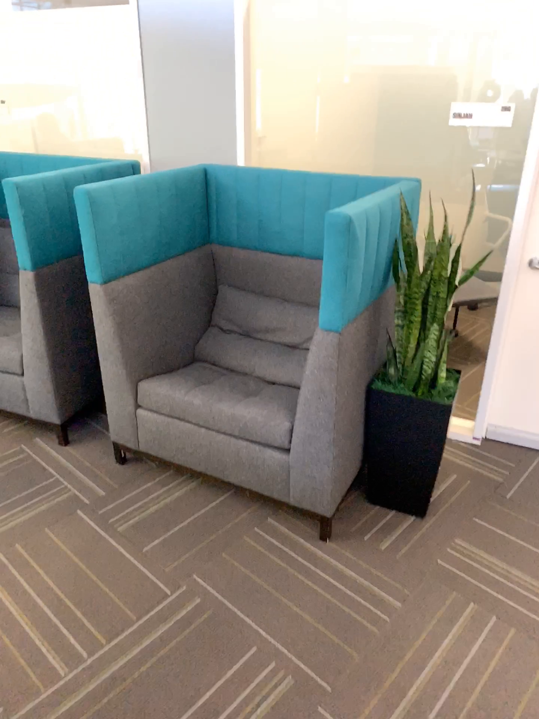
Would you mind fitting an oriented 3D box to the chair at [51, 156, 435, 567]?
[{"bbox_3d":[-0.036,-0.127,2.288,1.052,1.213,1.014,13,29,25],"label":"chair"}]
